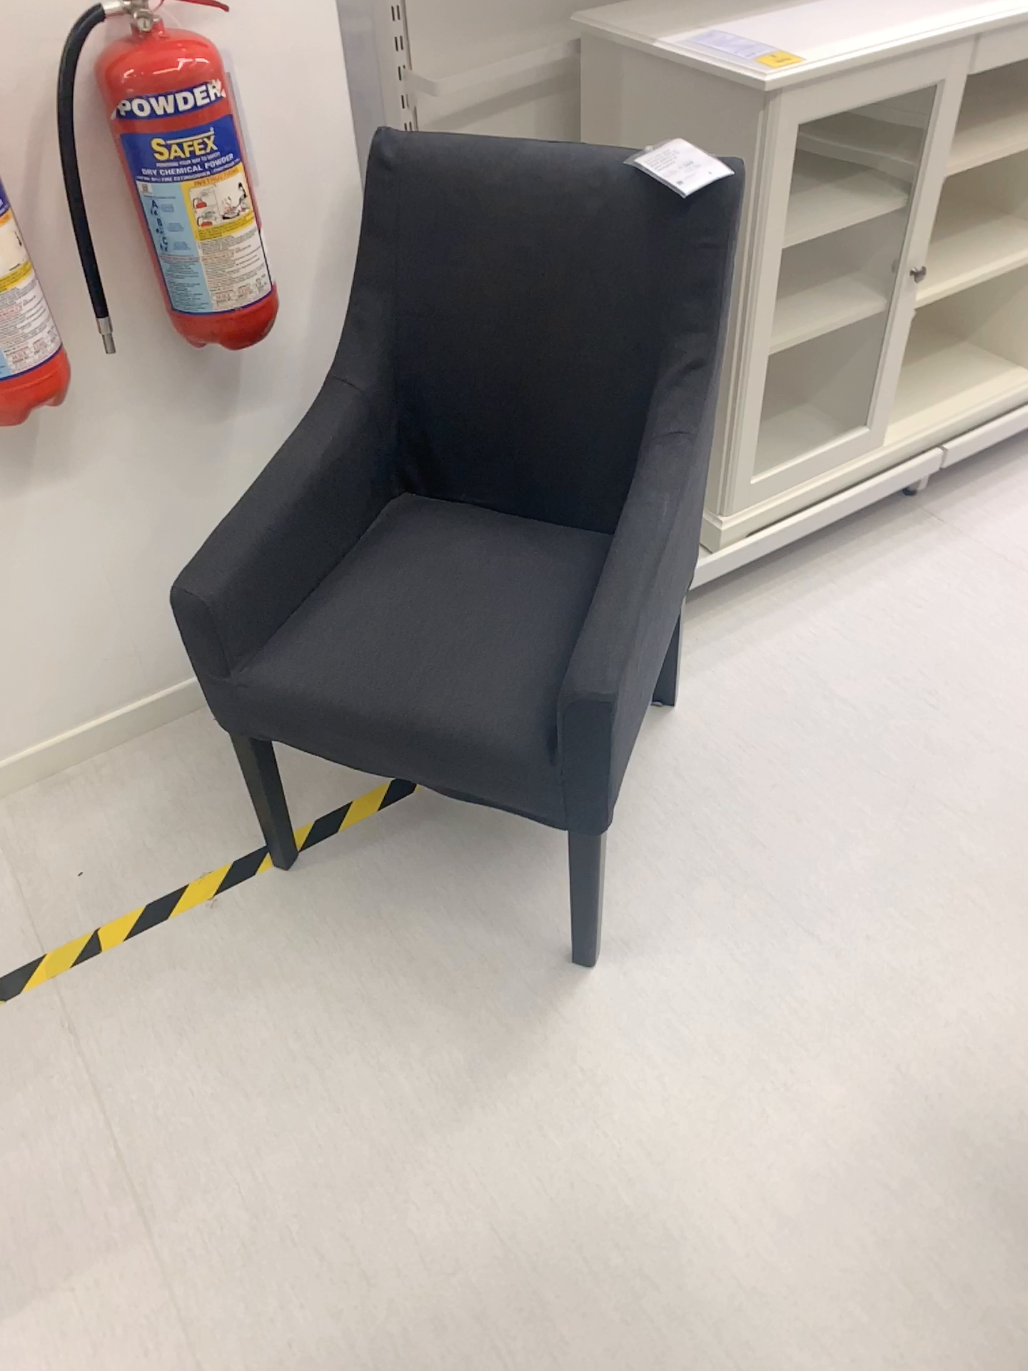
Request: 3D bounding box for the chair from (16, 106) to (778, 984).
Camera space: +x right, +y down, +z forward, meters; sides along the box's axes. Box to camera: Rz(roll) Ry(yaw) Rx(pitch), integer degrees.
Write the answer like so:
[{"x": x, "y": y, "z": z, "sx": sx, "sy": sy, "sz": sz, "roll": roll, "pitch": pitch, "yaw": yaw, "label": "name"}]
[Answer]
[{"x": -0.066, "y": -0.186, "z": 1.455, "sx": 0.611, "sy": 0.916, "sz": 0.632, "roll": 14, "pitch": 47, "yaw": 17, "label": "chair"}]
